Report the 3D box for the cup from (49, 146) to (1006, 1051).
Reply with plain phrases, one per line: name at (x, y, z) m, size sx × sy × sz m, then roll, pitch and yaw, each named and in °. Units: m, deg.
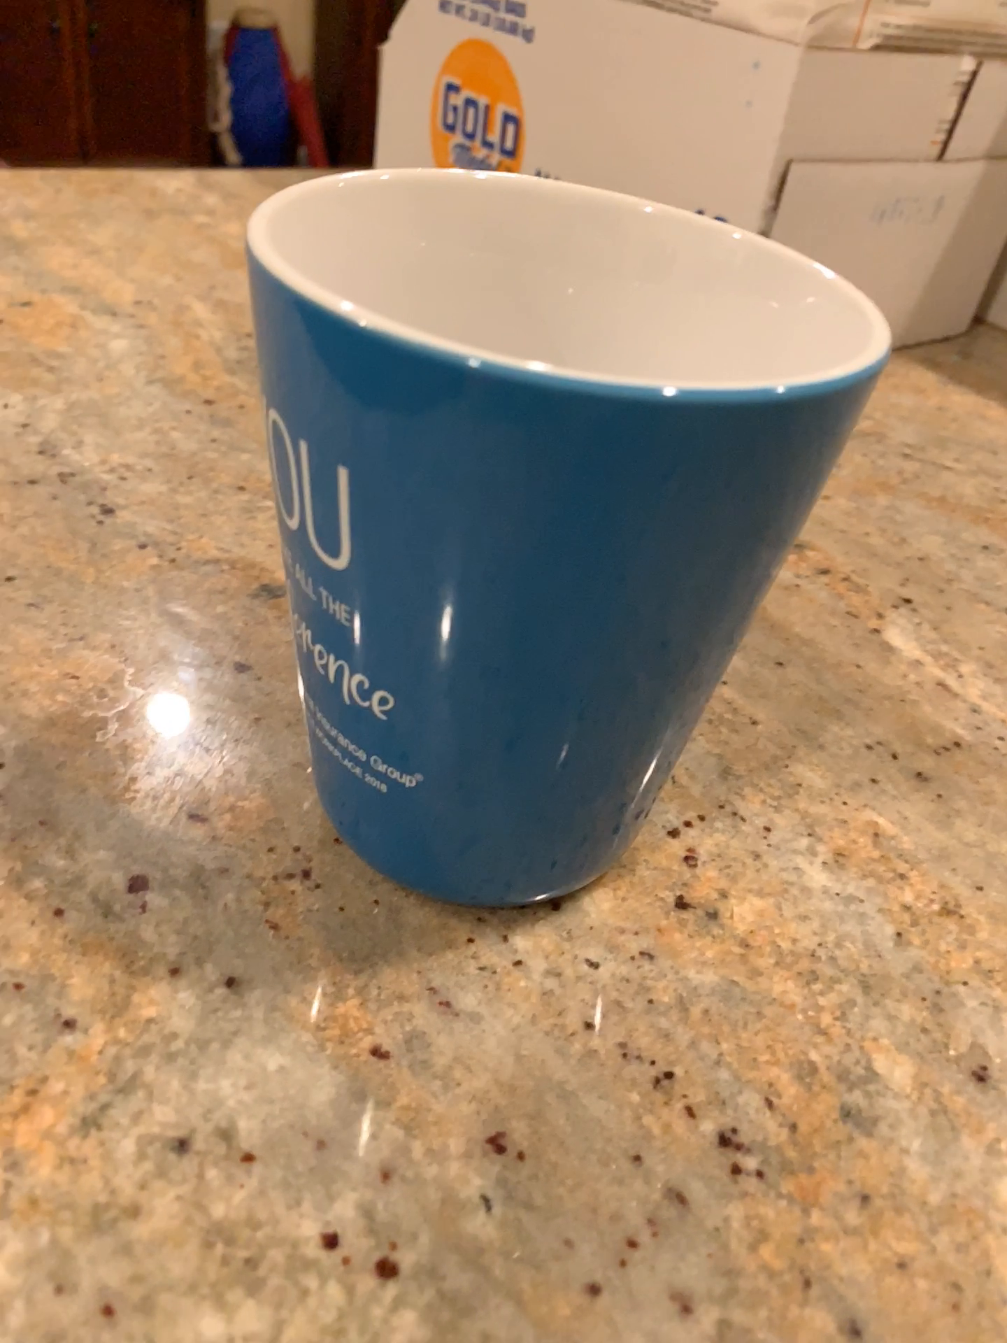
cup at (-0.007, -0.032, 0.200) m, size 0.099 × 0.098 × 0.138 m, roll -19°, pitch 43°, yaw -33°
